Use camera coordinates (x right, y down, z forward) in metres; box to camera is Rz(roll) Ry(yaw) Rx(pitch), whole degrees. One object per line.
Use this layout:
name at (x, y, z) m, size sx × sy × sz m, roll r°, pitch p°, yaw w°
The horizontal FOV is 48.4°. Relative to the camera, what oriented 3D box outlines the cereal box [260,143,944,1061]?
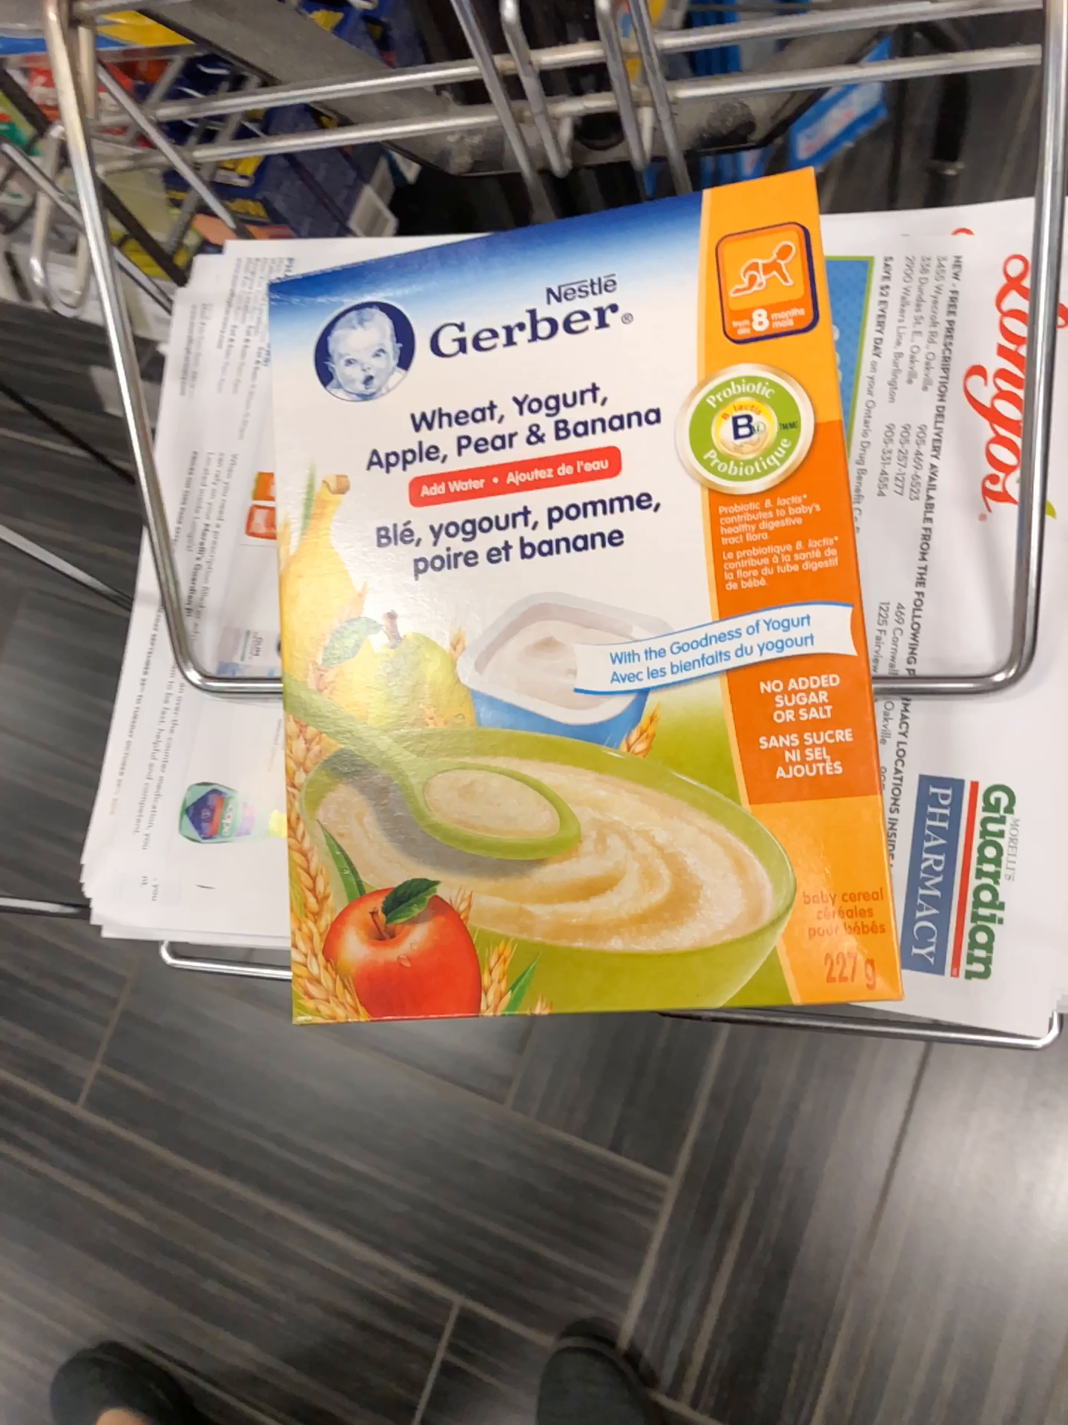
cereal box at (0.011, -0.021, 0.297) m, size 0.150 × 0.050 × 0.200 m, roll -6°, pitch 78°, yaw 16°
